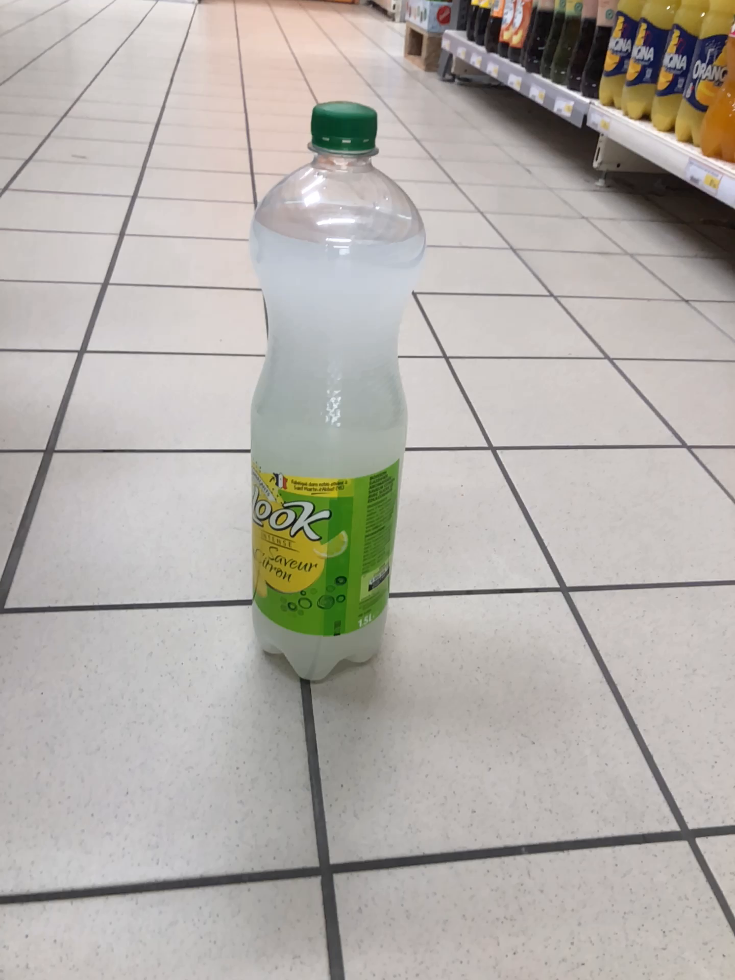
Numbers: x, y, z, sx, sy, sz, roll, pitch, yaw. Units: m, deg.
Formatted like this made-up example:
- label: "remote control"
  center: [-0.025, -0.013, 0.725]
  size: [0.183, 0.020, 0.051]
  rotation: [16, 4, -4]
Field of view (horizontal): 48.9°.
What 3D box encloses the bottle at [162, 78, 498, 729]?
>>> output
- label: "bottle"
  center: [-0.029, -0.036, 0.422]
  size: [0.101, 0.308, 0.100]
  rotation: [4, 33, -3]
